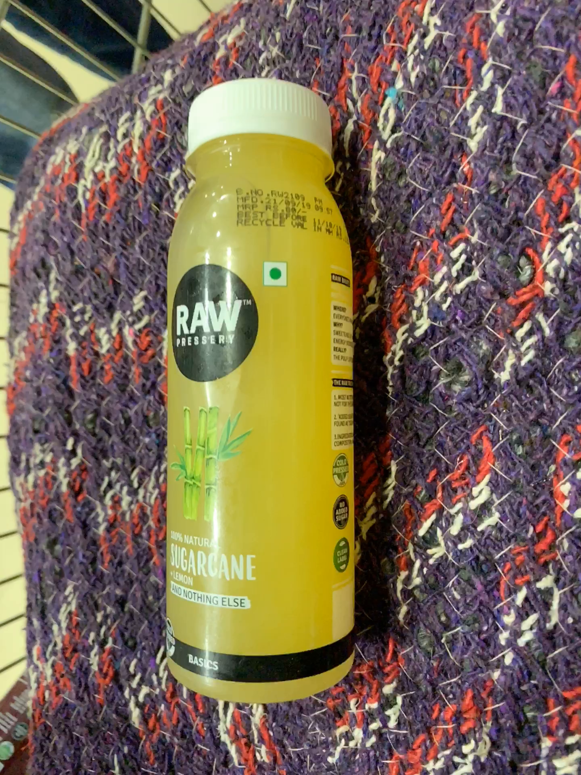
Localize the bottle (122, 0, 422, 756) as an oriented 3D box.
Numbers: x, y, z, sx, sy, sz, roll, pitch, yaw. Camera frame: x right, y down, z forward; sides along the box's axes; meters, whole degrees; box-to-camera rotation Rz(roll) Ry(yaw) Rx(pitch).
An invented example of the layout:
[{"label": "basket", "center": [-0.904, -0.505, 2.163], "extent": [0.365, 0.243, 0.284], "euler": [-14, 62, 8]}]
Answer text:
[{"label": "bottle", "center": [-0.004, -0.006, 0.160], "extent": [0.060, 0.050, 0.160], "euler": [-1, 88, 32]}]
